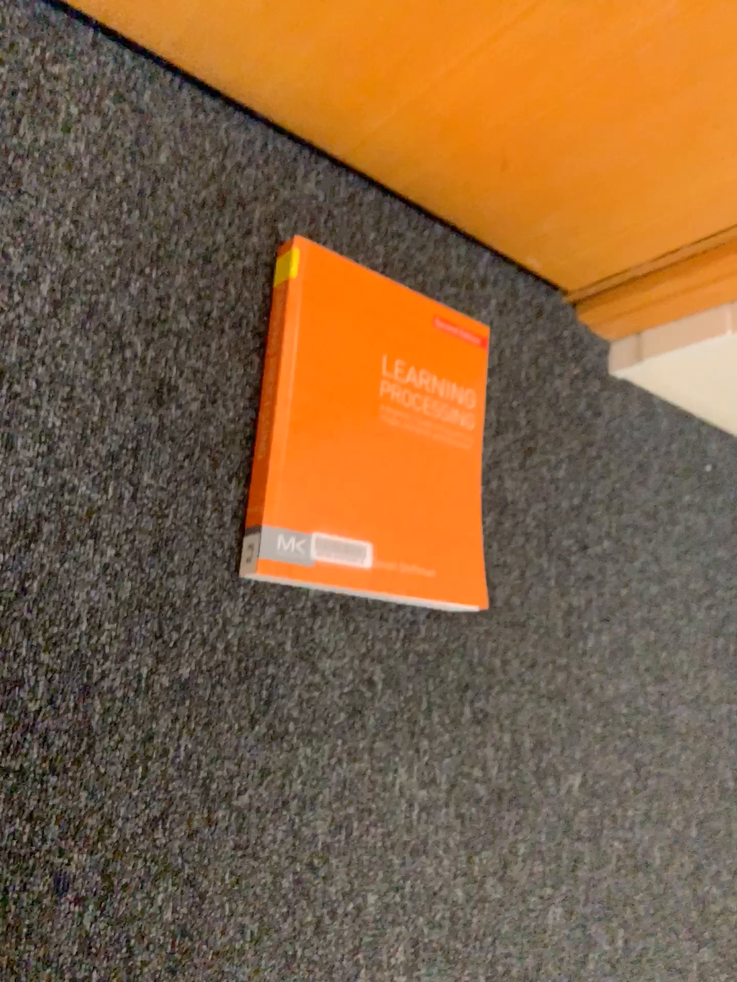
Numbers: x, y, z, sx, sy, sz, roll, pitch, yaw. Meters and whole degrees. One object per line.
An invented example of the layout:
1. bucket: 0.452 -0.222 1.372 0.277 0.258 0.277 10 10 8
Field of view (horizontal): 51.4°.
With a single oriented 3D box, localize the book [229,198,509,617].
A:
1. book: 0.015 -0.049 0.567 0.211 0.040 0.261 15 73 -37
